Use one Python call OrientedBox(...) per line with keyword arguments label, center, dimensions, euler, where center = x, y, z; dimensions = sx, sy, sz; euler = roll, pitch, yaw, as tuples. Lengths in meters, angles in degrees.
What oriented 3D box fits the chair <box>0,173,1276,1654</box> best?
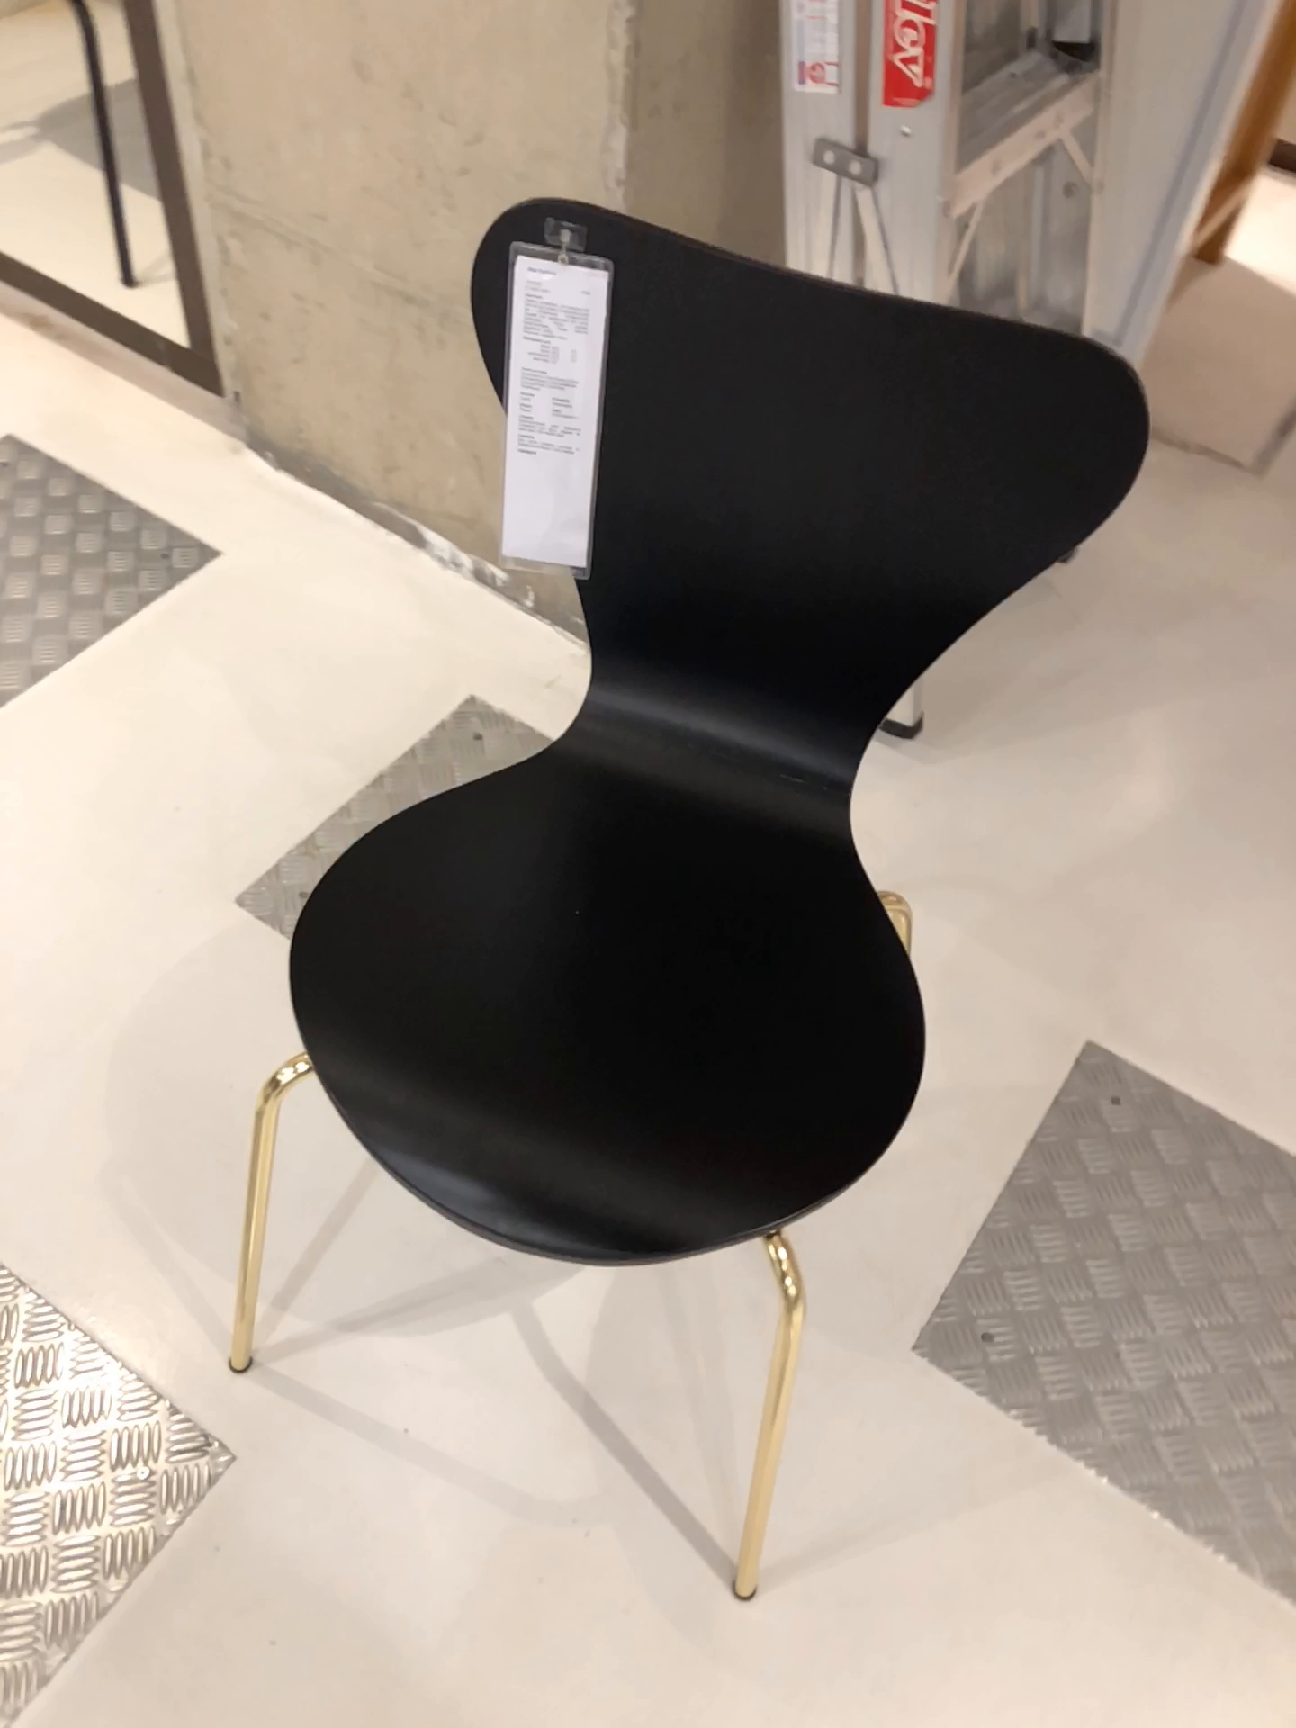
OrientedBox(label="chair", center=(-0.009, 0.080, 0.996), dimensions=(0.510, 0.775, 0.543), euler=(20, 52, 11))
